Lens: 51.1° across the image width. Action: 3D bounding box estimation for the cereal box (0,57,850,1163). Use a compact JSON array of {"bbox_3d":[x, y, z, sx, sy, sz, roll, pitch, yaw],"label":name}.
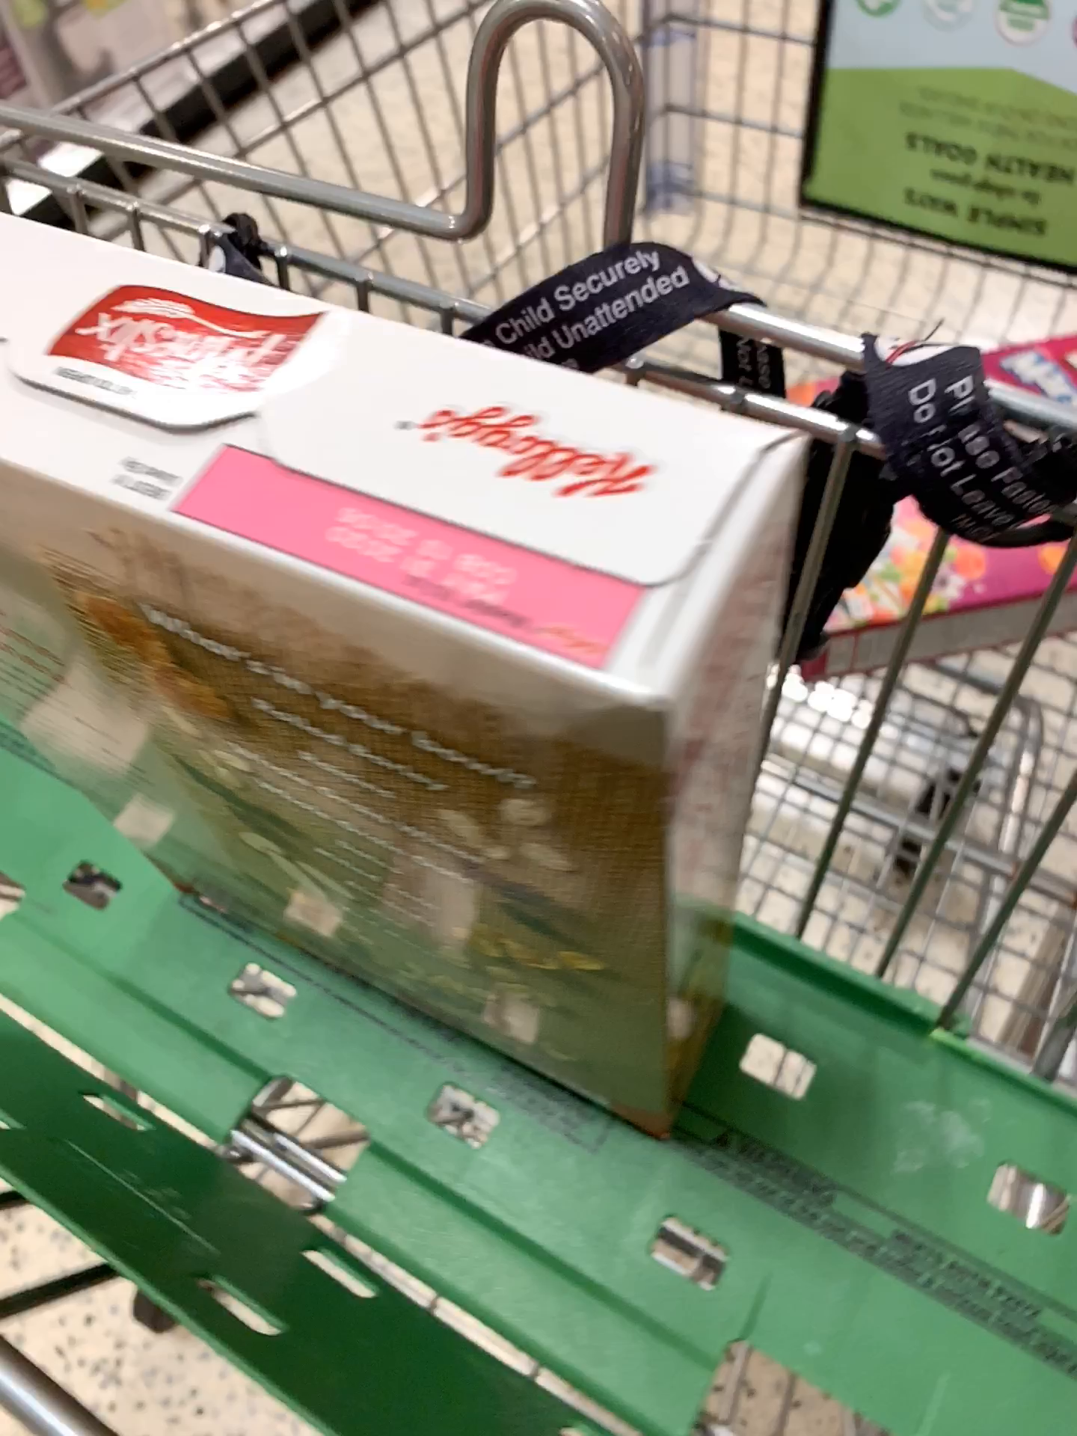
[{"bbox_3d":[-0.048,0.008,0.252,0.190,0.248,0.050,23,65,19],"label":"cereal box"}]
